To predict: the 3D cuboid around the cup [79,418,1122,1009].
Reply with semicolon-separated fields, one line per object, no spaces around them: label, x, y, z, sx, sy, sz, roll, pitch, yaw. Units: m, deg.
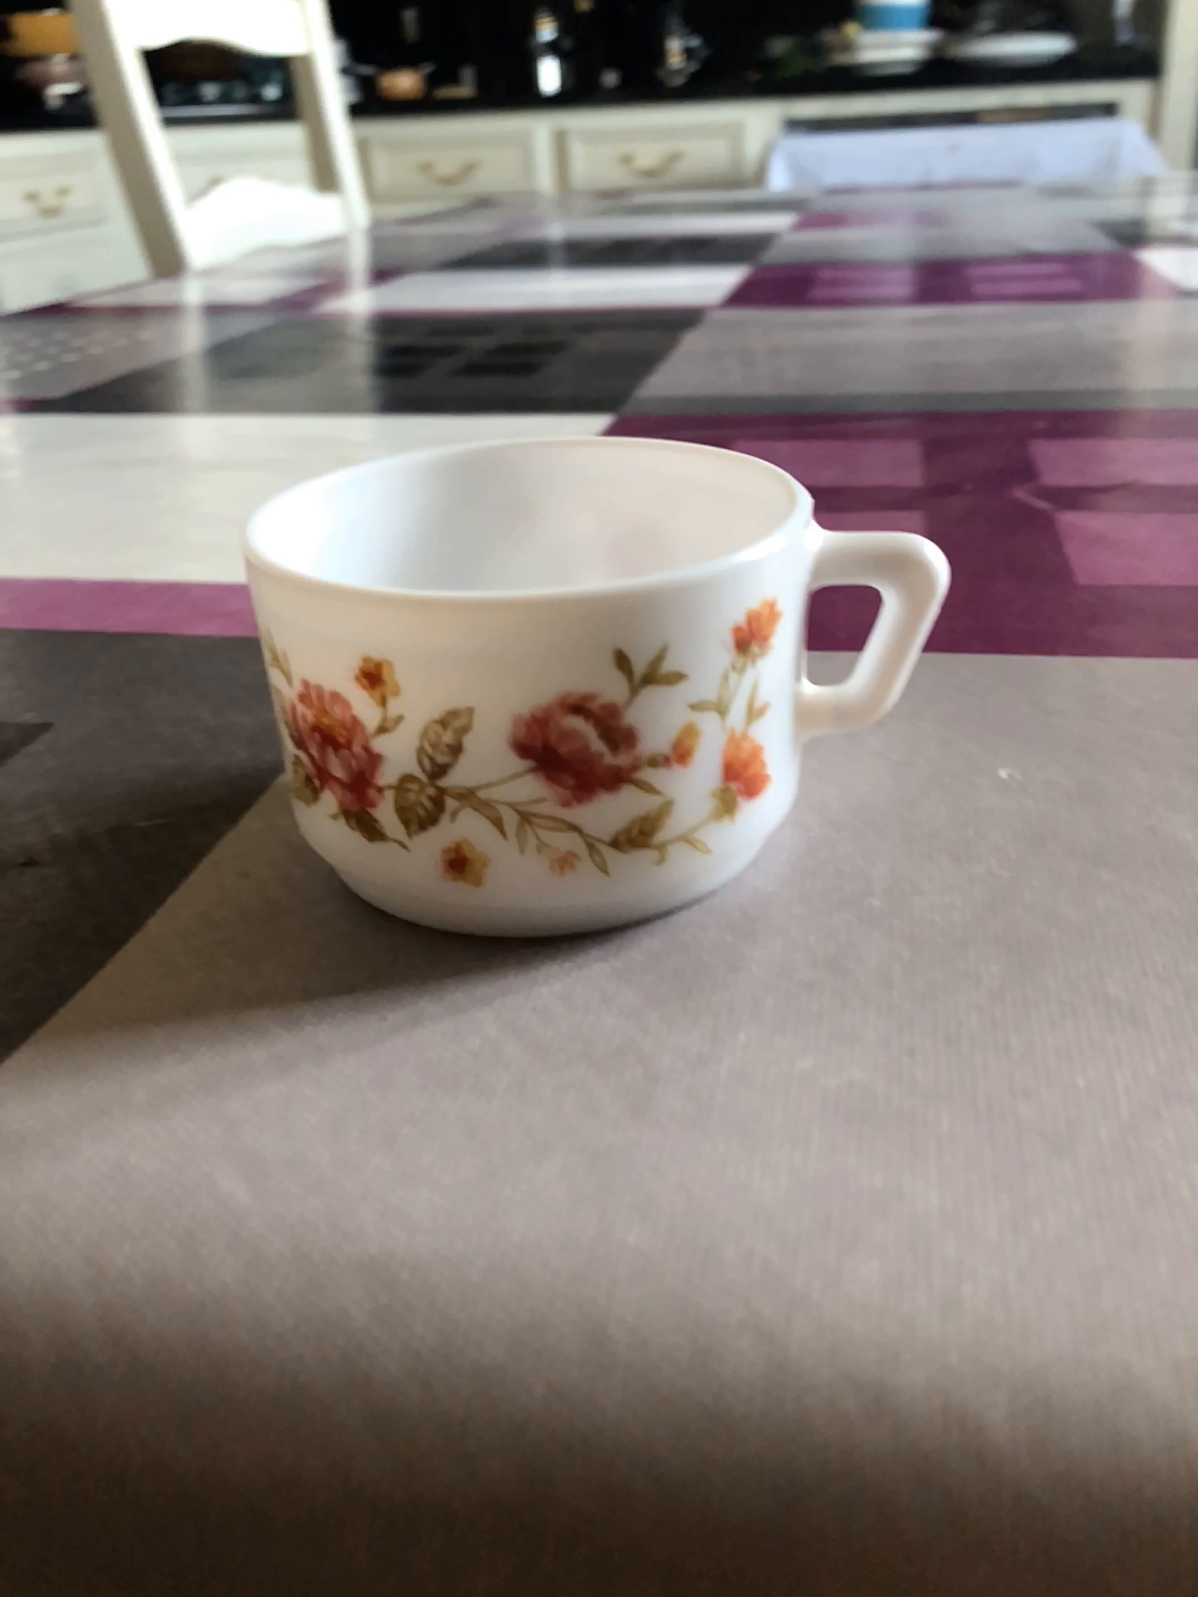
cup;0.005;-0.018;0.186;0.110;0.050;0.081;2;27;10
